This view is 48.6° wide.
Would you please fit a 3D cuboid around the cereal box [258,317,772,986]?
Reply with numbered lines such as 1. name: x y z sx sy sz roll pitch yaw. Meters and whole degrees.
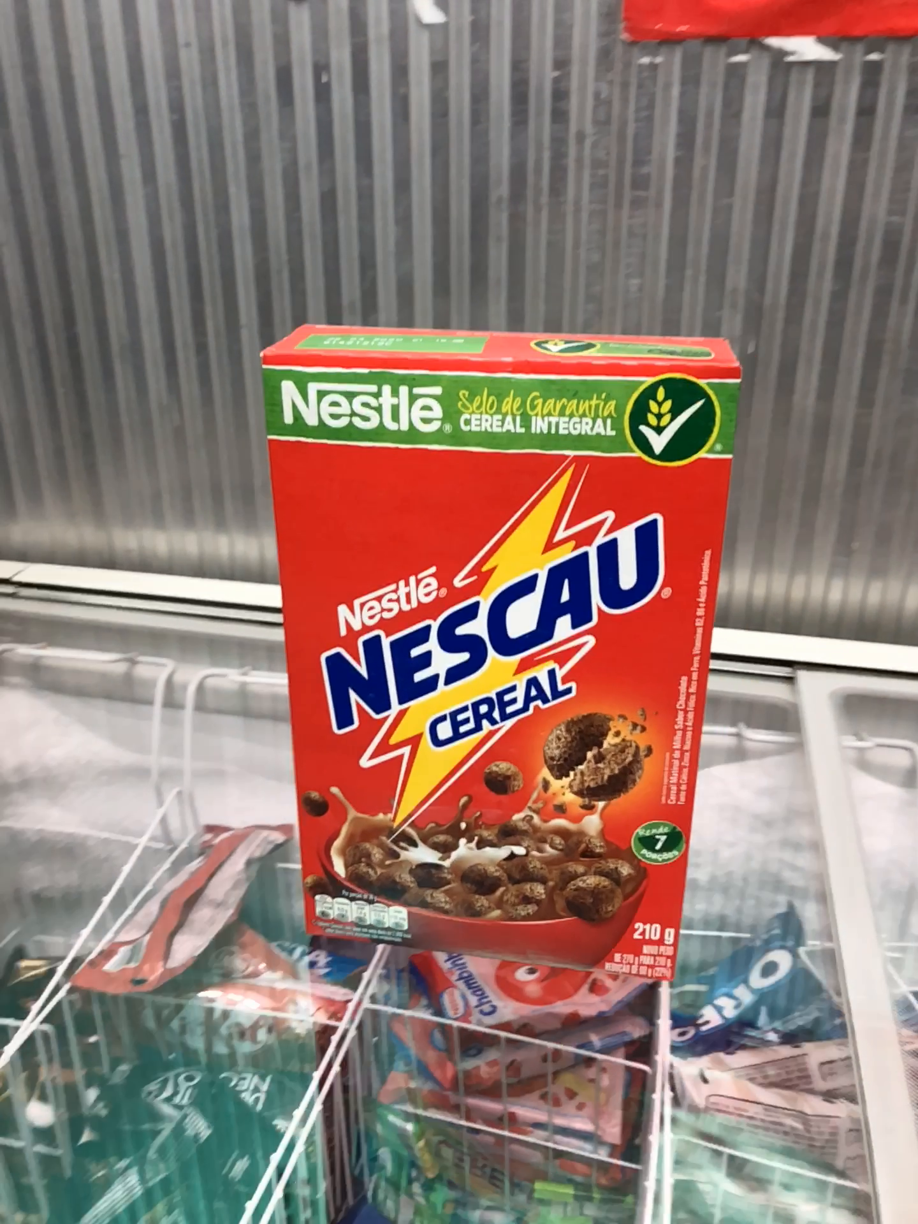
1. cereal box: 0.020 0.021 0.408 0.170 0.258 0.050 5 25 10
